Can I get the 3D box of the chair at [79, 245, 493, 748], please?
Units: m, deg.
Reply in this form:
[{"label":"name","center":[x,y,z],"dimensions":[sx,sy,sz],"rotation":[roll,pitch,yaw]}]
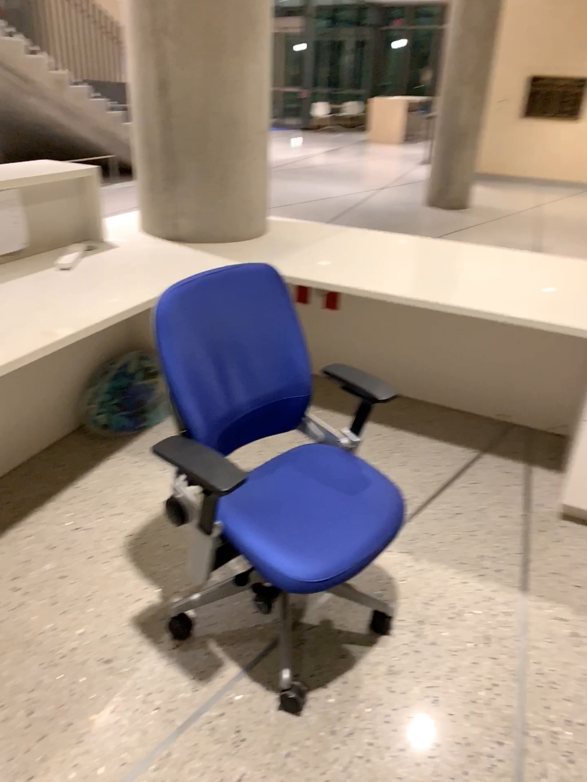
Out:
[{"label":"chair","center":[-0.014,0.179,1.548],"dimensions":[0.649,0.880,0.689],"rotation":[22,33,34]}]
